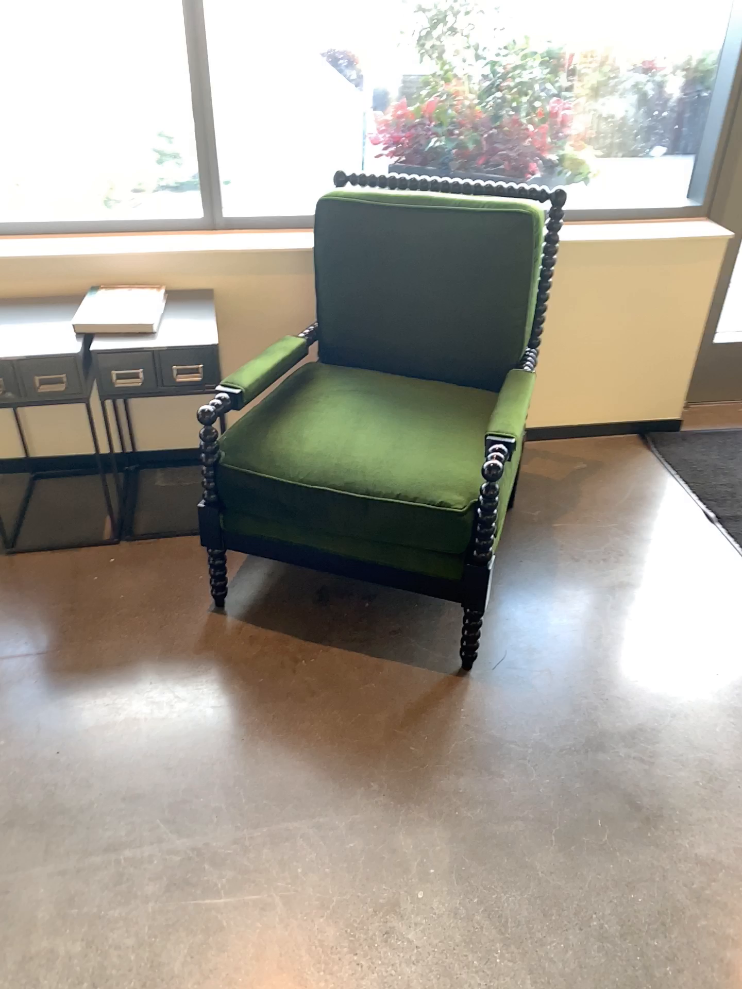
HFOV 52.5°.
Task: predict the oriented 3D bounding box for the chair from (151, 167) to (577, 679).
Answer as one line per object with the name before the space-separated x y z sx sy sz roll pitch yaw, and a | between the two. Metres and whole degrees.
chair | 0.048 -0.262 2.082 0.761 0.984 0.925 12 36 15
